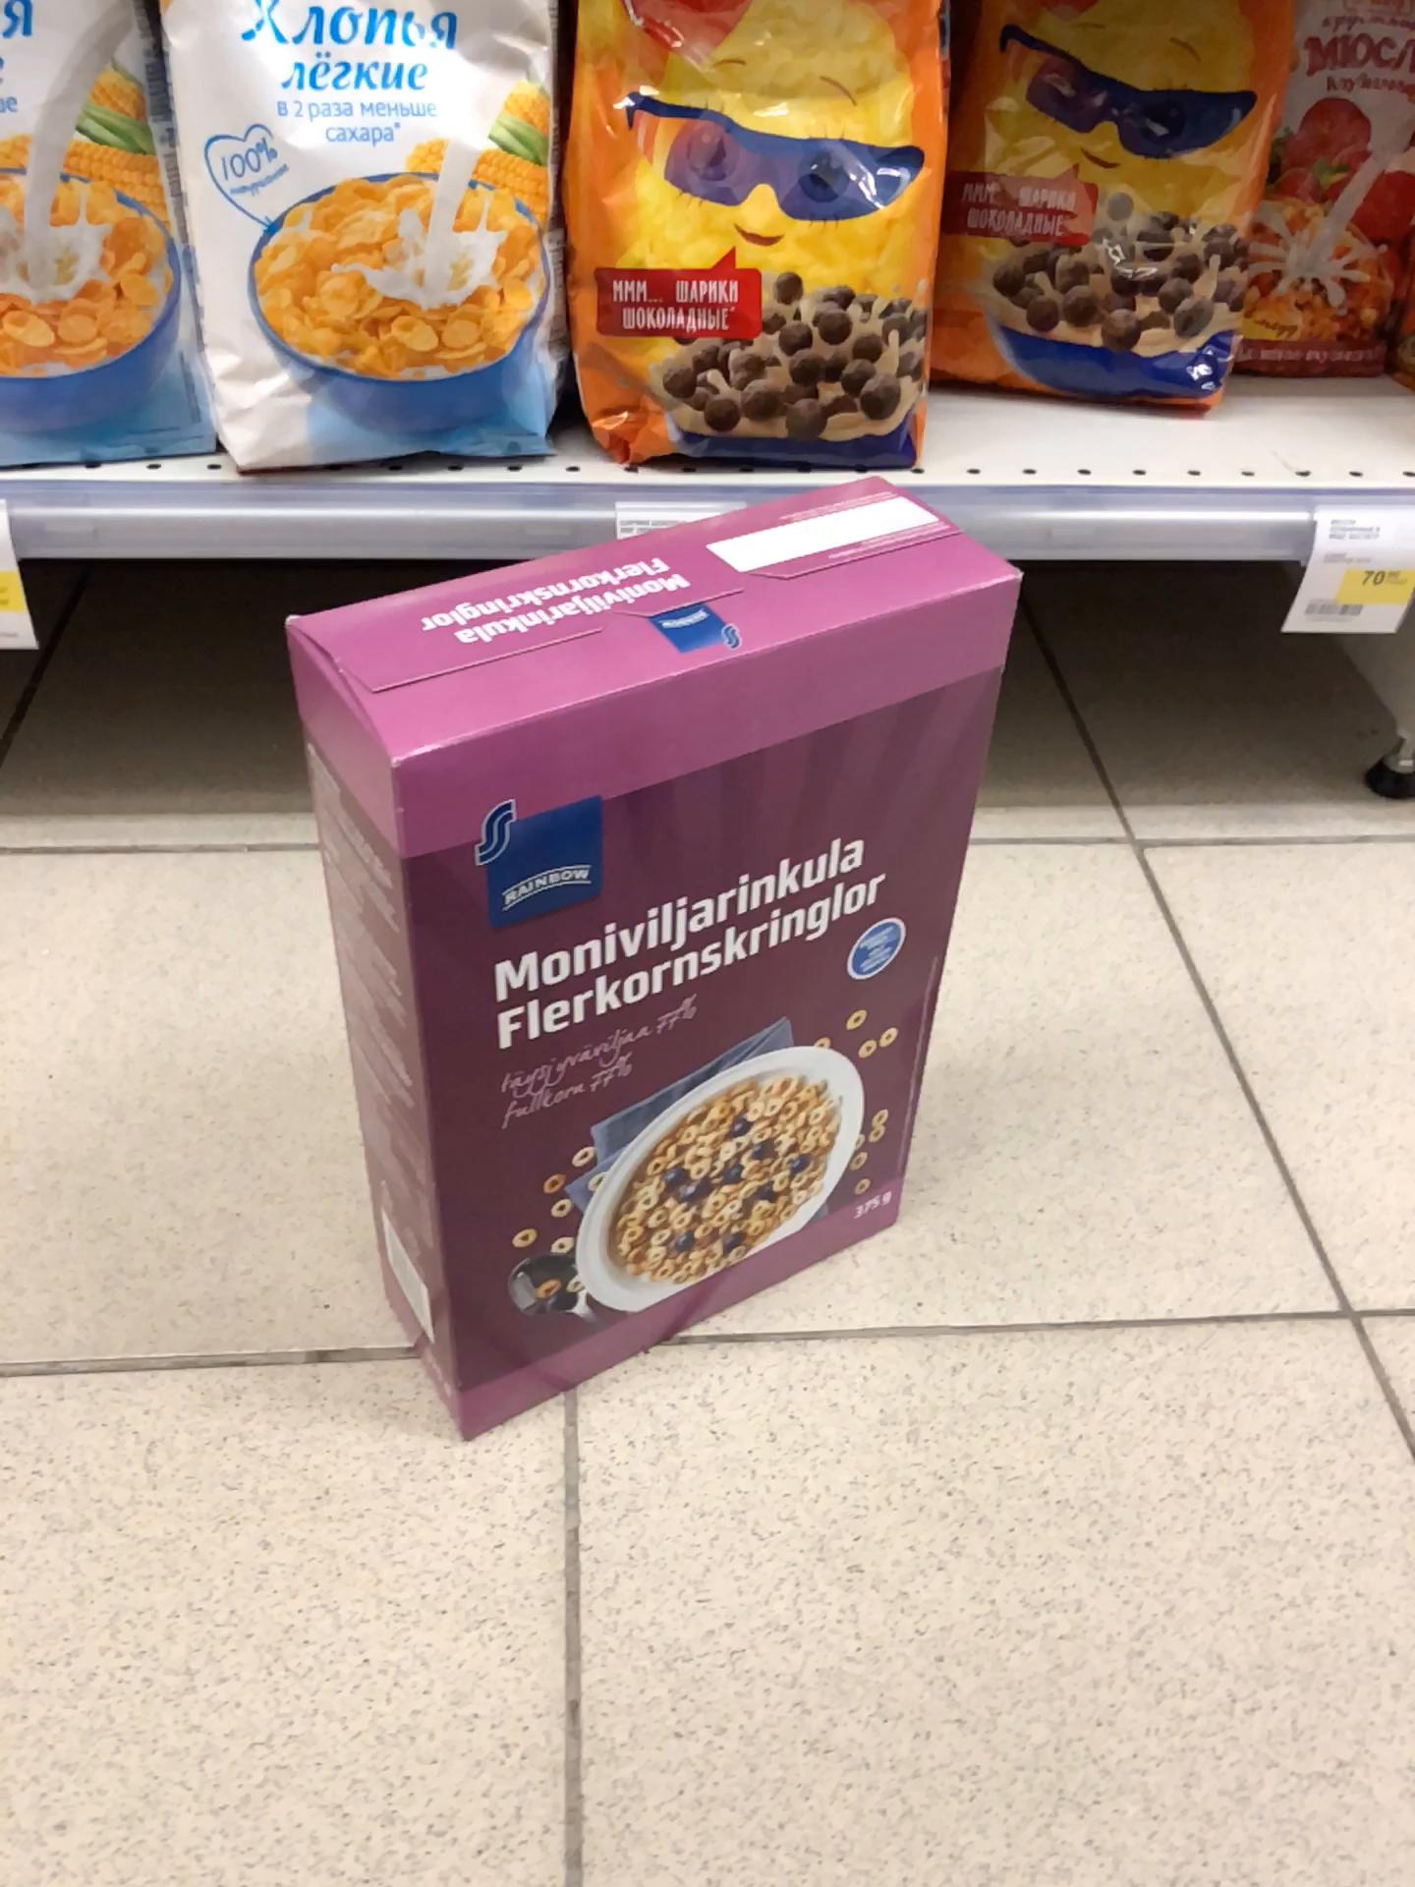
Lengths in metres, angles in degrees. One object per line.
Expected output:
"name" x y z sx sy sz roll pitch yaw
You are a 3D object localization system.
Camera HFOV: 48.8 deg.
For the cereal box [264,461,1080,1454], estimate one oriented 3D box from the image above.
"cereal box" -0.009 0.011 0.512 0.210 0.278 0.080 -21 45 -25
